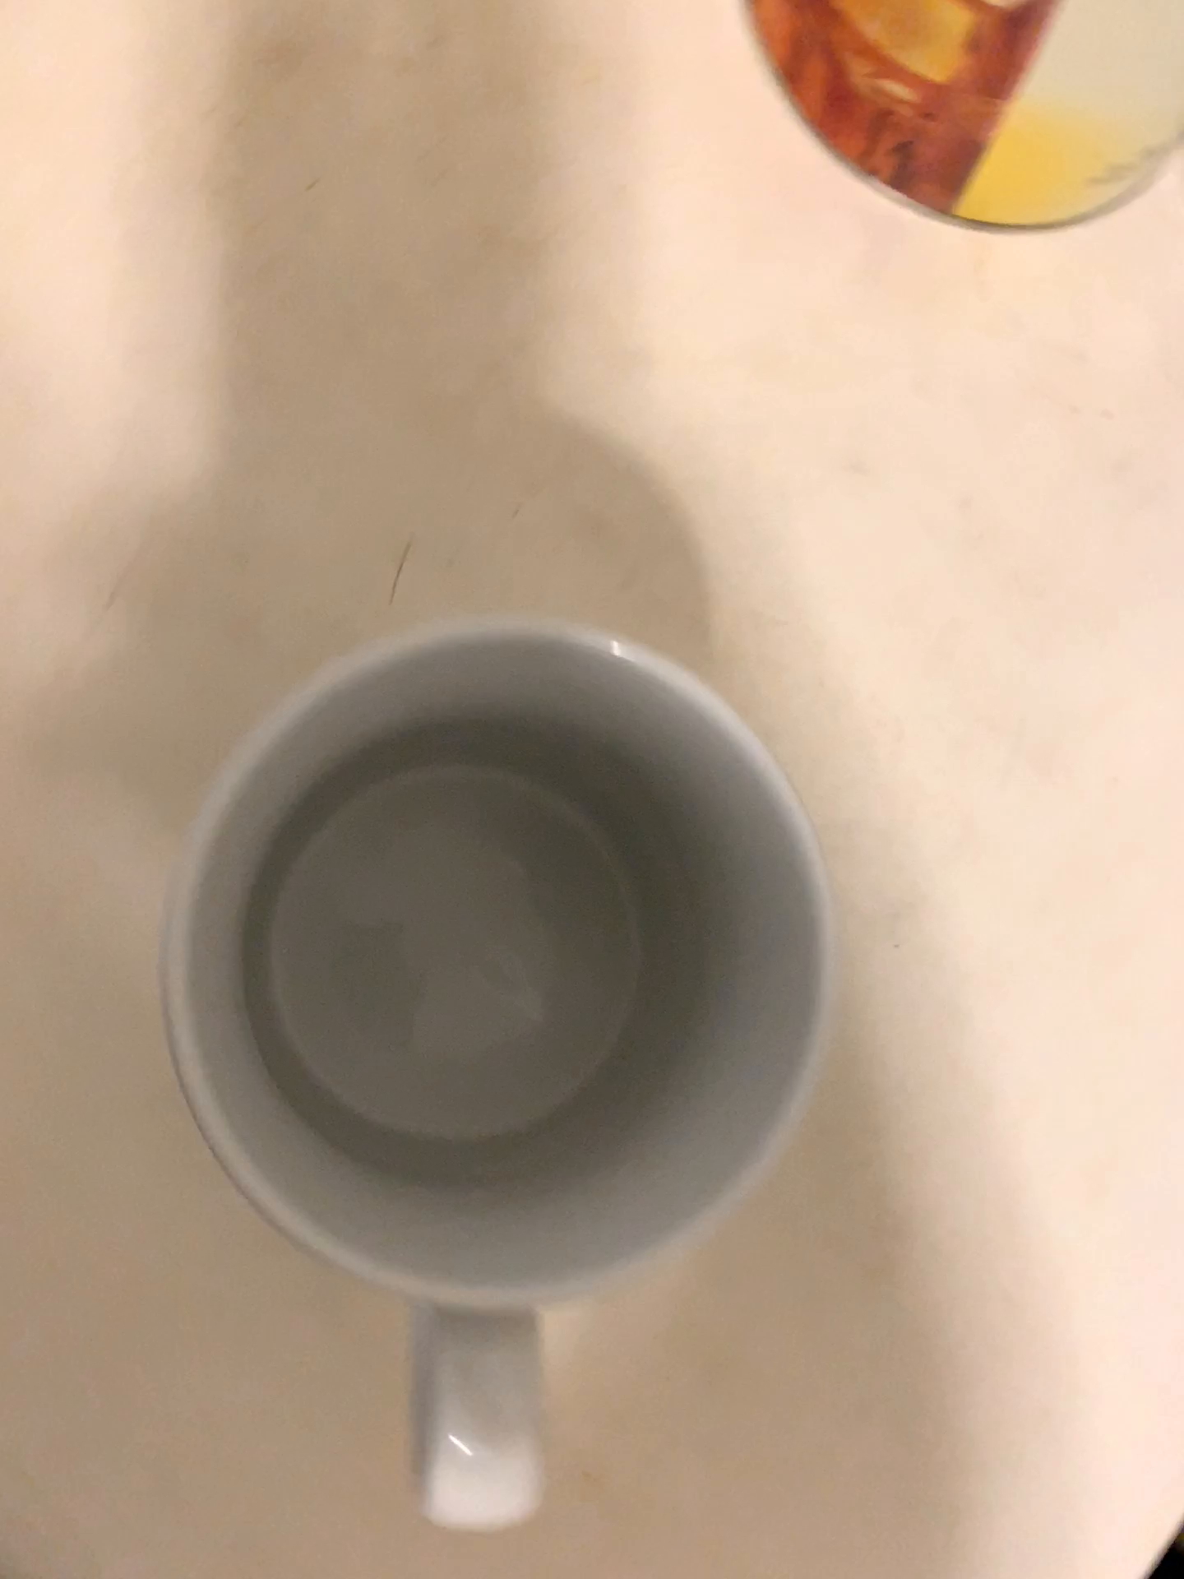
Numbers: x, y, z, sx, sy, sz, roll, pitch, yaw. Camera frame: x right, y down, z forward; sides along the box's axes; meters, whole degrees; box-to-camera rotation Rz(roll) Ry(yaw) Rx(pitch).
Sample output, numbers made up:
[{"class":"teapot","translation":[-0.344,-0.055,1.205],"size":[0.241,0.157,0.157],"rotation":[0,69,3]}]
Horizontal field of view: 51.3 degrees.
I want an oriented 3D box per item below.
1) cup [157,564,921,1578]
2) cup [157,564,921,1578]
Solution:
[{"class":"cup","translation":[-0.015,0.041,0.220],"size":[0.100,0.110,0.130],"rotation":[1,84,-12]},{"class":"cup","translation":[-0.015,0.041,0.220],"size":[0.100,0.110,0.130],"rotation":[1,84,-12]}]
